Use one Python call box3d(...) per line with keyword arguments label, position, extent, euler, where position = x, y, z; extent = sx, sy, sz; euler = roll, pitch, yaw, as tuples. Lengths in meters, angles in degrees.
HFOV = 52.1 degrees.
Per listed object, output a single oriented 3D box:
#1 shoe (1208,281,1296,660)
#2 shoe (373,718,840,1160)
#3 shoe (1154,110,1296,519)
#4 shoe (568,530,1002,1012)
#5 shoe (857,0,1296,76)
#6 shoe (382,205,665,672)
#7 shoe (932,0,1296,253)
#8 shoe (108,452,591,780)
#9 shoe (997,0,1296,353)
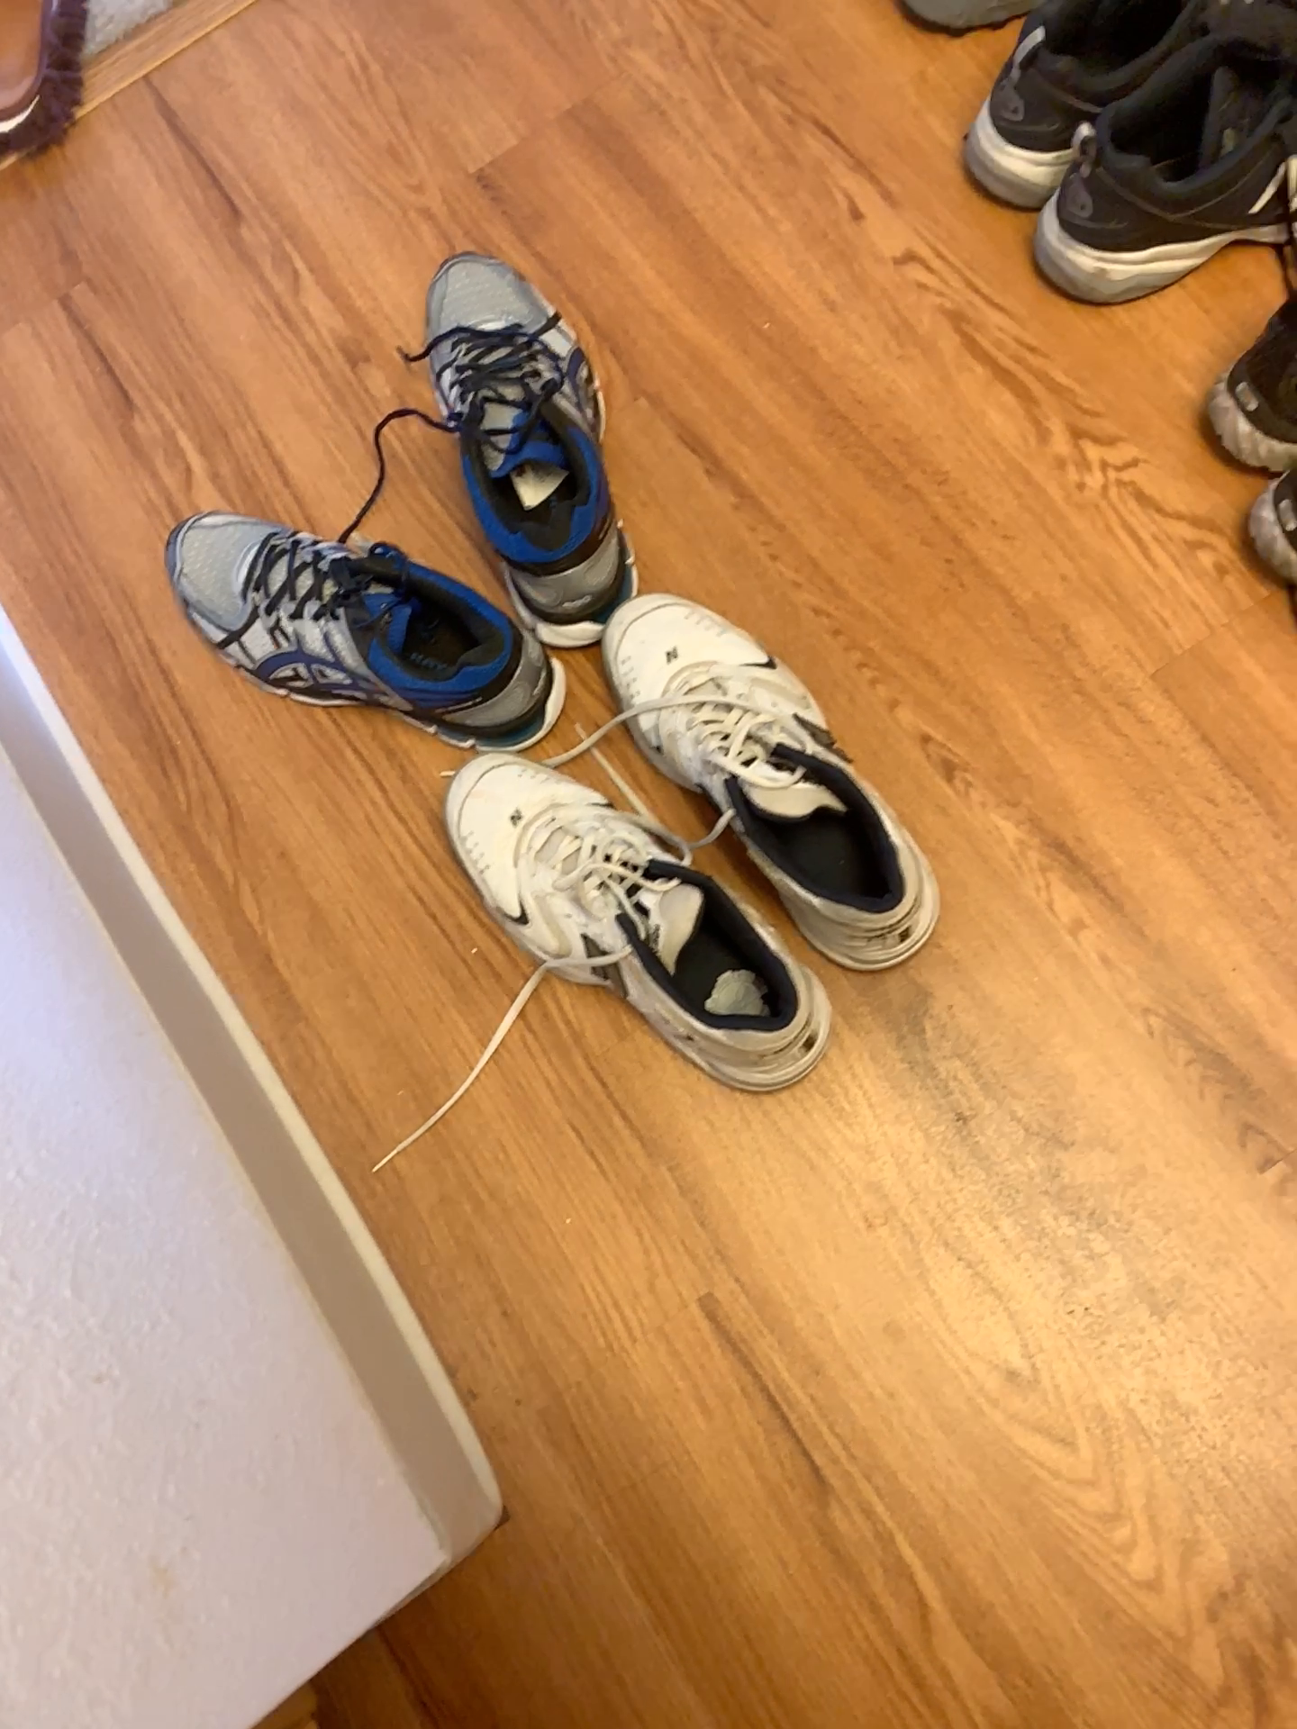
box3d(label="shoe", position=(0.537, -0.238, 0.826), extent=(0.310, 0.110, 0.110), euler=(-14, 74, 4))
box3d(label="shoe", position=(-0.021, 0.050, 0.832), extent=(0.270, 0.130, 0.110), euler=(39, 84, 15))
box3d(label="shoe", position=(0.499, -0.346, 0.850), extent=(0.290, 0.110, 0.110), euler=(-20, 74, 3))
box3d(label="shoe", position=(0.081, -0.054, 0.821), extent=(0.110, 0.130, 0.260), euler=(-37, 74, -2))
box3d(label="shoe", position=(0.320, -0.713, 0.962), extent=(0.310, 0.090, 0.120), euler=(-21, 74, 2))
box3d(label="shoe", position=(-0.086, -0.292, 0.909), extent=(0.110, 0.080, 0.290), euler=(-18, 74, 3))
box3d(label="shoe", position=(0.364, -0.567, 0.904), extent=(0.310, 0.100, 0.120), euler=(-28, 74, 1))
box3d(label="shoe", position=(-0.198, -0.168, 0.892), extent=(0.290, 0.080, 0.110), euler=(21, 80, 13))
box3d(label="shoe", position=(0.406, -0.474, 0.871), extent=(0.310, 0.100, 0.120), euler=(-22, 74, 2))
